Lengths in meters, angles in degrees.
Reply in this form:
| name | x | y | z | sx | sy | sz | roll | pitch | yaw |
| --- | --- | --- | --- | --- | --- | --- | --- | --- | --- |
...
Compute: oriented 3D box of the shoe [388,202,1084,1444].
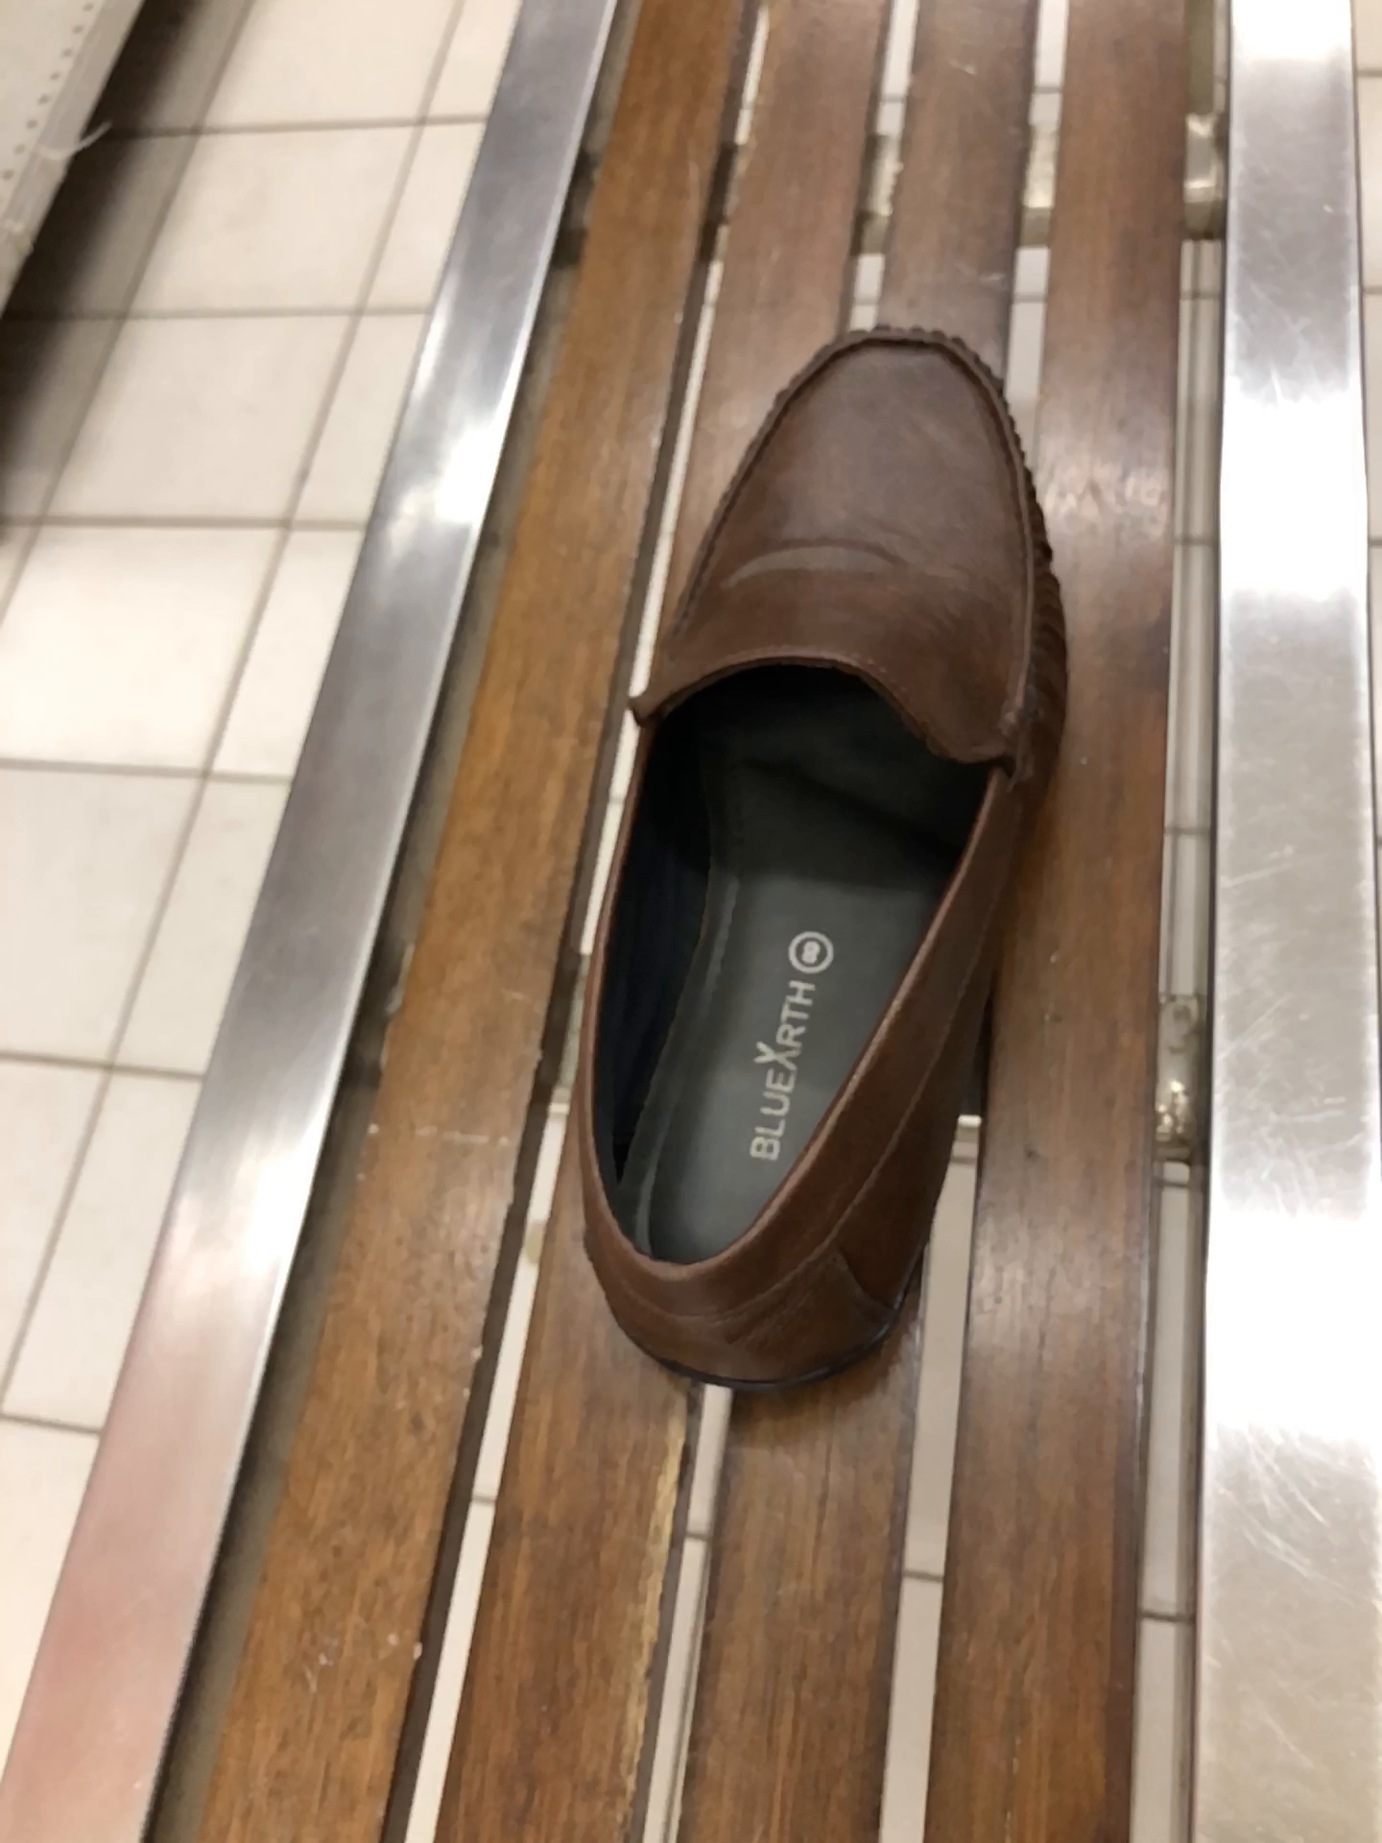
| name | x | y | z | sx | sy | sz | roll | pitch | yaw |
| --- | --- | --- | --- | --- | --- | --- | --- | --- | --- |
| shoe | 0.027 | -0.034 | 0.372 | 0.090 | 0.090 | 0.281 | 8 | 67 | 16 |
